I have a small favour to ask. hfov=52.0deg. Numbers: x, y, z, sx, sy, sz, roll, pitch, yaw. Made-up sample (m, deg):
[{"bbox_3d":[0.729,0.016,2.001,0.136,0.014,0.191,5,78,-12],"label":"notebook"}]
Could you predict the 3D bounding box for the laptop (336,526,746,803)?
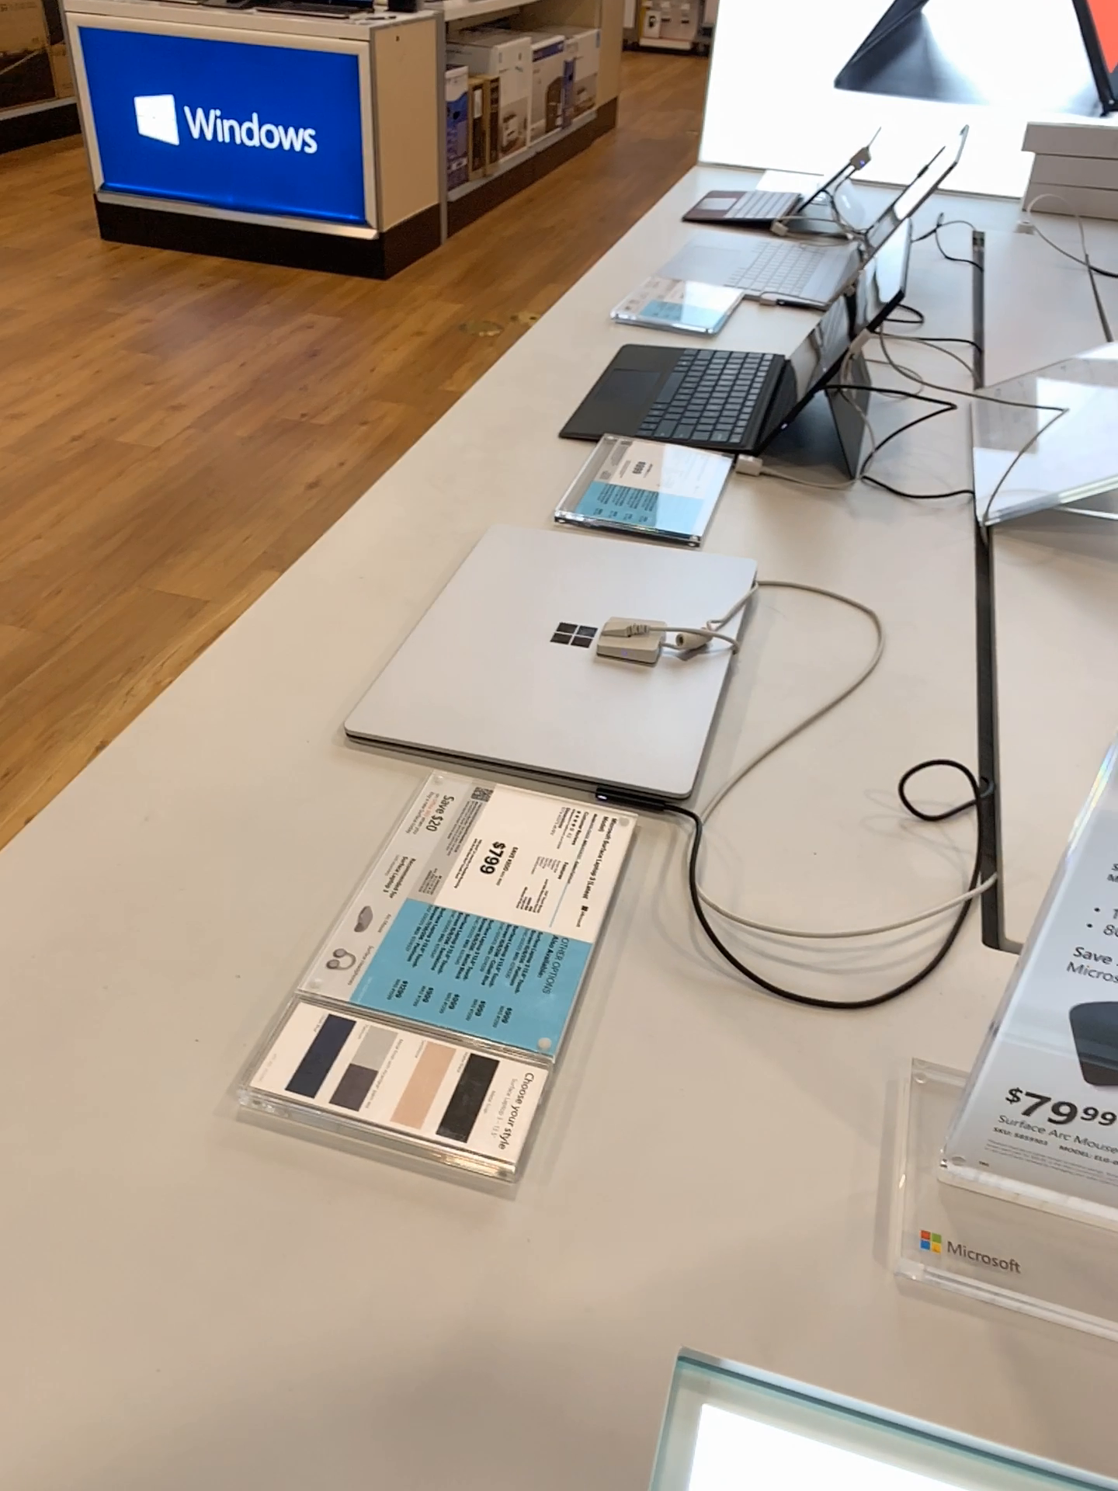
[{"bbox_3d":[0.003,-0.075,0.825,0.220,0.008,0.298,10,38,12],"label":"laptop"}]
